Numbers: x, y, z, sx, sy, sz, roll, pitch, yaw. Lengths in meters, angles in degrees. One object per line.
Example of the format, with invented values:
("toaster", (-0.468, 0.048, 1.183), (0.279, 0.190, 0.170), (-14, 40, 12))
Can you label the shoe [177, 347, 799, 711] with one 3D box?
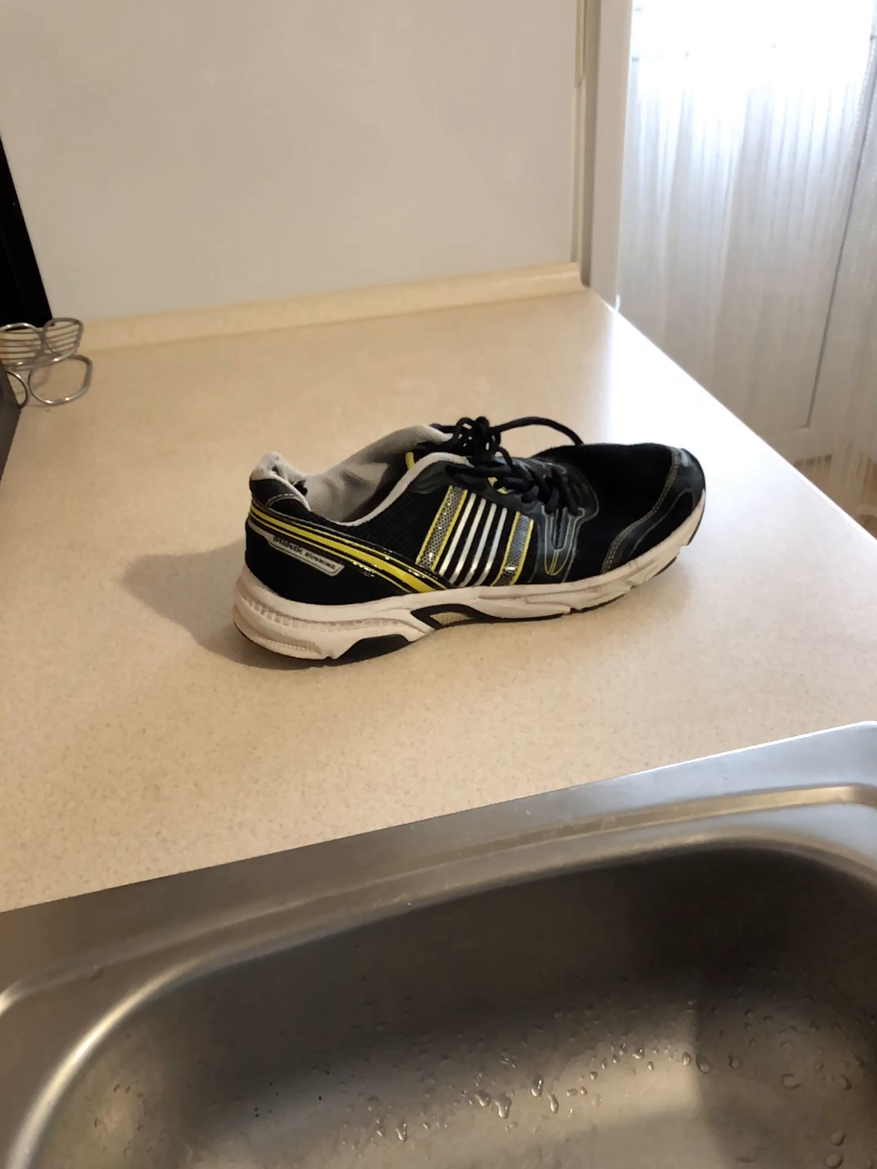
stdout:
("shoe", (0.026, -0.040, 0.540), (0.310, 0.099, 0.111), (-13, 37, -12))
